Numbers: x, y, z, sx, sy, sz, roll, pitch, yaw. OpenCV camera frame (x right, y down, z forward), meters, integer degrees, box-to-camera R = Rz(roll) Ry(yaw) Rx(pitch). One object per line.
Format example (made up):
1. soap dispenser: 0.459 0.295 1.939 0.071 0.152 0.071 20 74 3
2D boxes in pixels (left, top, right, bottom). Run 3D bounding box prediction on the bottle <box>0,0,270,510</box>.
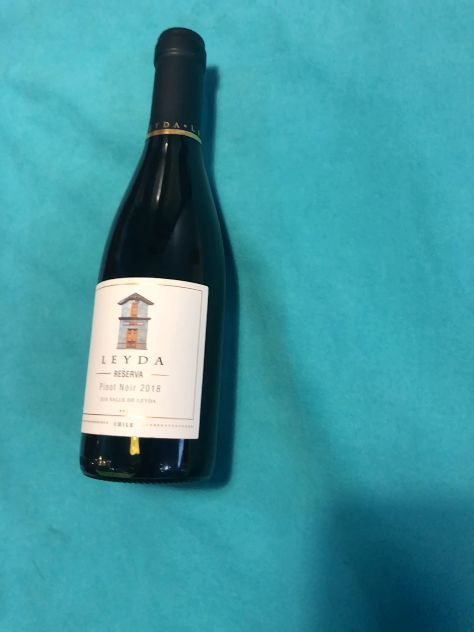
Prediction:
1. bottle: -0.040 -0.056 0.251 0.070 0.080 0.260 2 82 21
